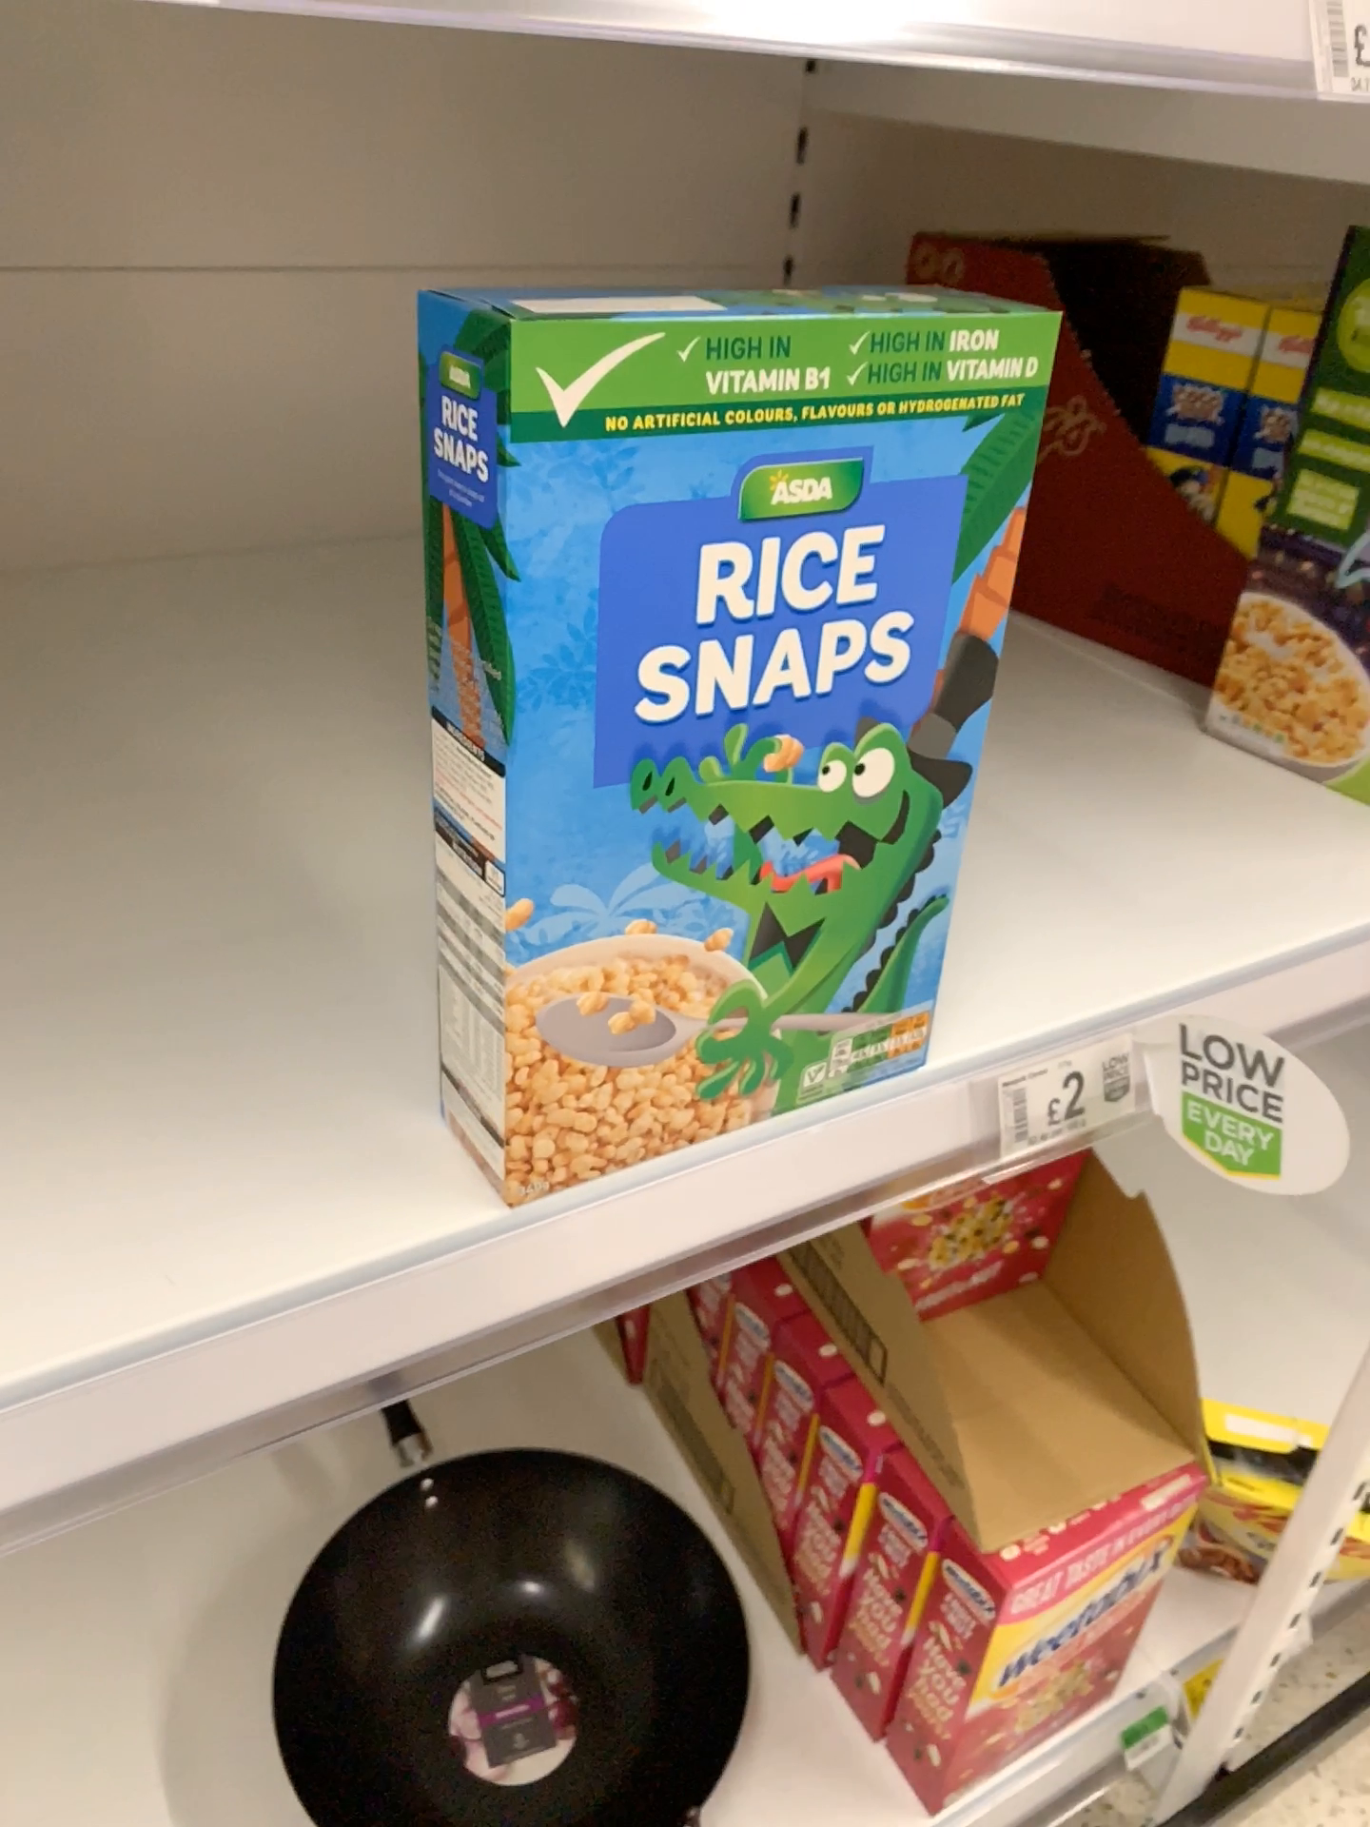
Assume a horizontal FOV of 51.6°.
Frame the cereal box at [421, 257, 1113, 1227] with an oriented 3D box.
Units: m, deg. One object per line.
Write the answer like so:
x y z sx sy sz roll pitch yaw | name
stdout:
0.017 -0.056 0.472 0.191 0.287 0.070 -15 36 -30 | cereal box
